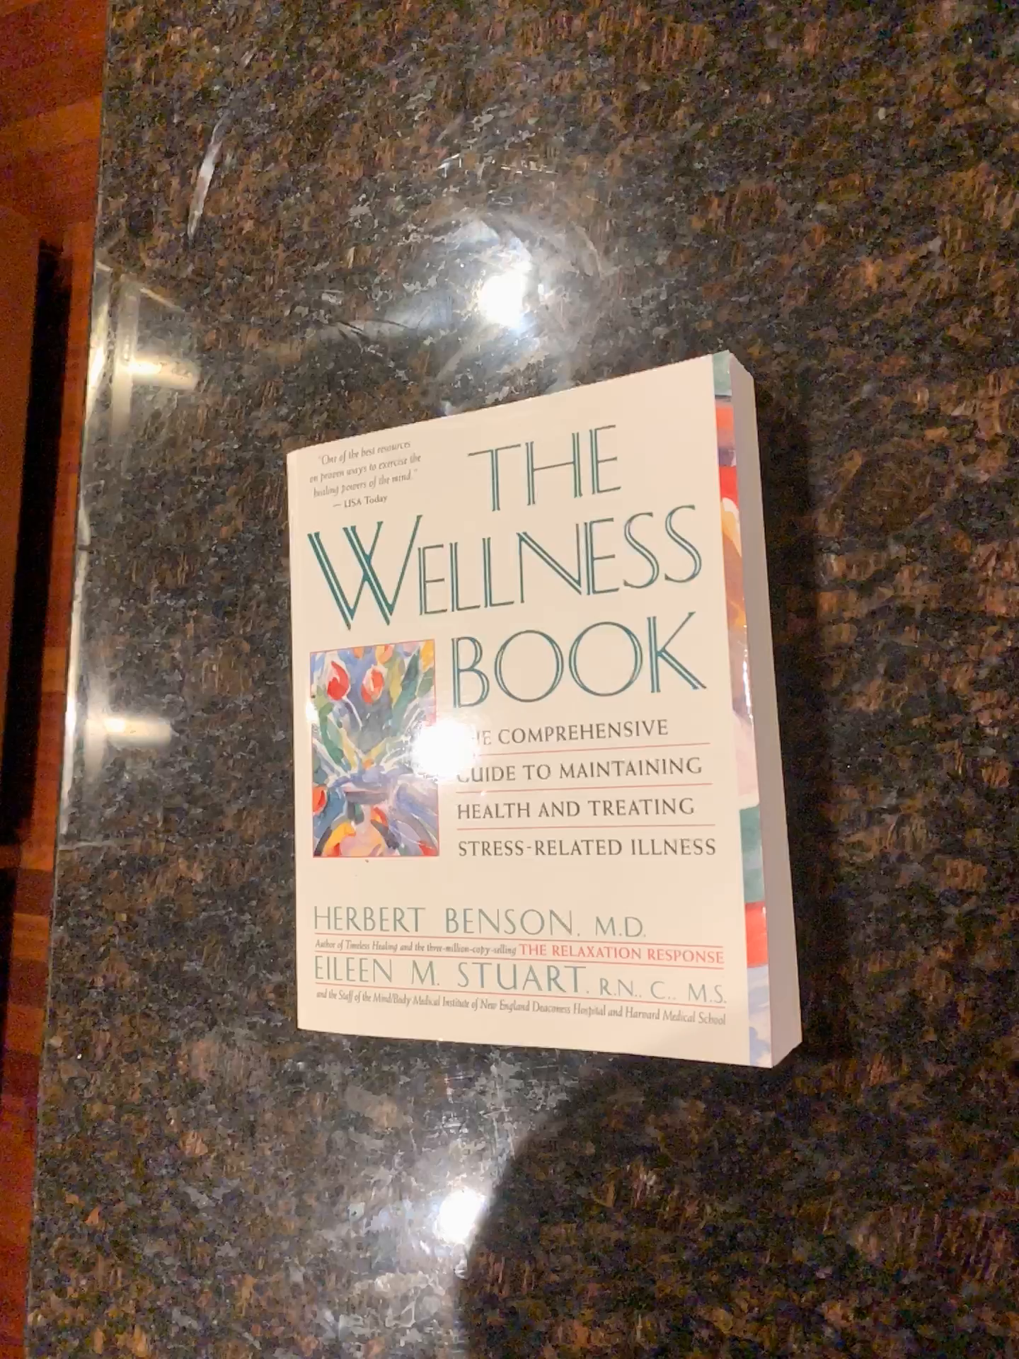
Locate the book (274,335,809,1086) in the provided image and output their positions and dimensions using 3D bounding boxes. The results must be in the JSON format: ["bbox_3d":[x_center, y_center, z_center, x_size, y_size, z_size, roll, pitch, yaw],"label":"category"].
[{"bbox_3d":[0.005,0.015,0.401,0.188,0.060,0.240,-5,83,26],"label":"book"}]
